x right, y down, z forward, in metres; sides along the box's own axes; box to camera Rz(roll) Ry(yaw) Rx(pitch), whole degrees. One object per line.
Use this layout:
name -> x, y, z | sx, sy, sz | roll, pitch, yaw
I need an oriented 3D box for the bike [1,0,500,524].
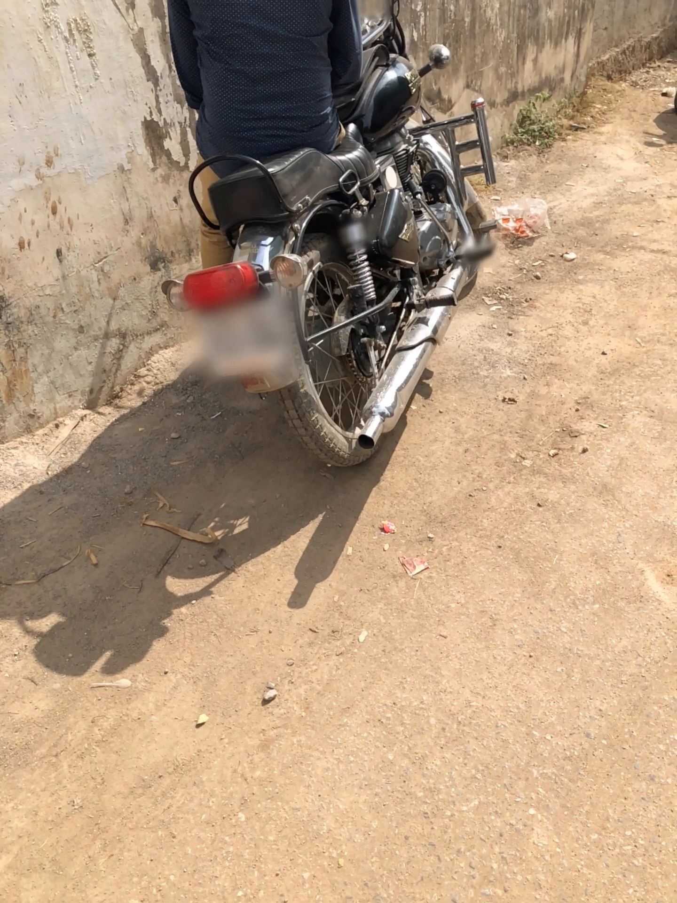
bike -> -0.001, -1.011, 2.499 | 0.880, 1.317, 1.945 | 5, 38, 16
